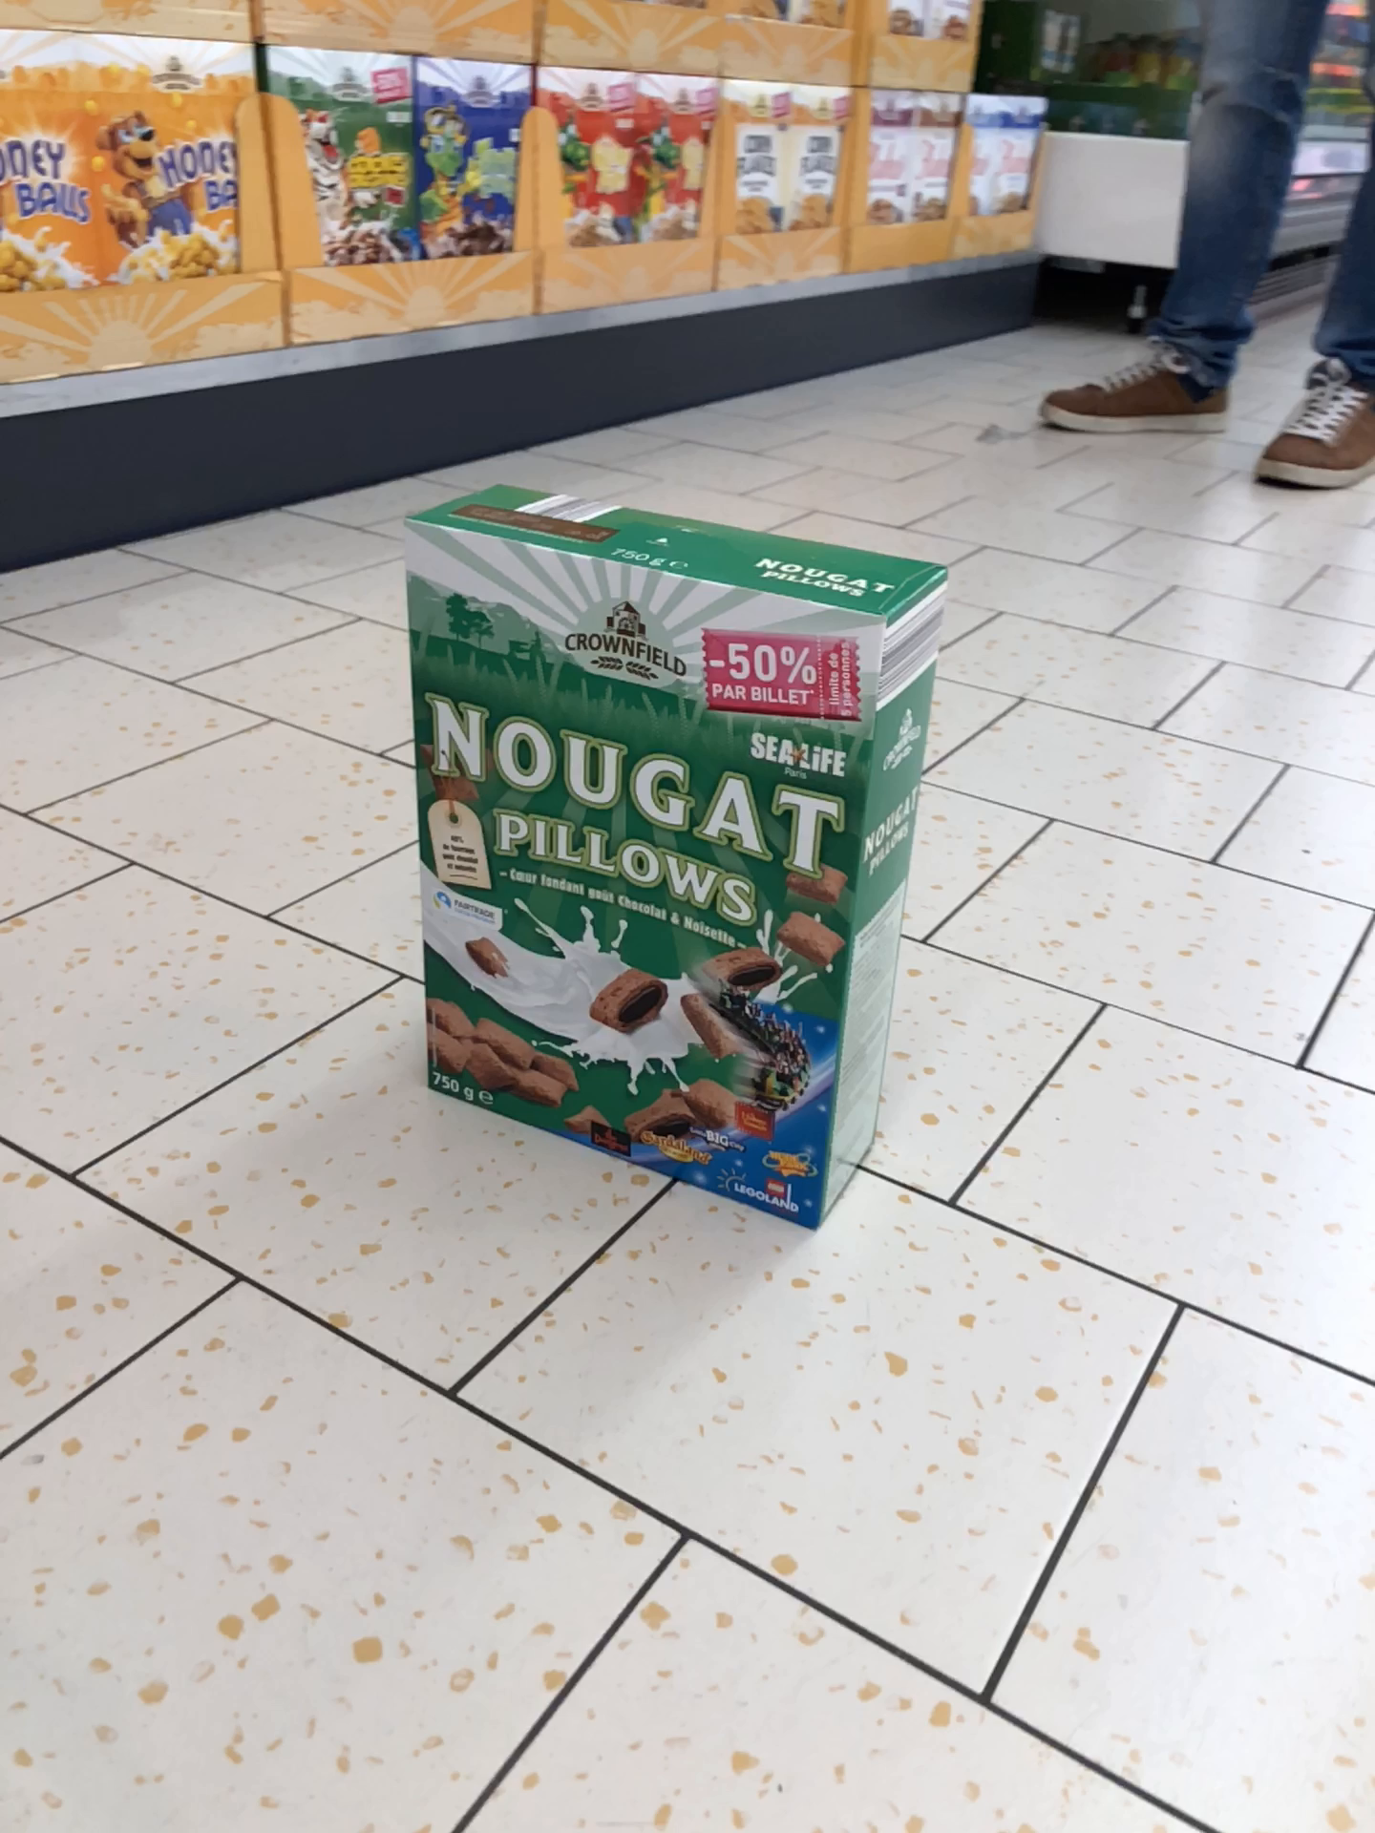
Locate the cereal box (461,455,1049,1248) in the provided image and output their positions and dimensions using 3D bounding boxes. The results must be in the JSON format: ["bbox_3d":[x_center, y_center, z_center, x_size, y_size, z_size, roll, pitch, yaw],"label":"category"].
[{"bbox_3d":[0.015,-0.027,0.603,0.200,0.268,0.070,16,30,22],"label":"cereal box"}]
